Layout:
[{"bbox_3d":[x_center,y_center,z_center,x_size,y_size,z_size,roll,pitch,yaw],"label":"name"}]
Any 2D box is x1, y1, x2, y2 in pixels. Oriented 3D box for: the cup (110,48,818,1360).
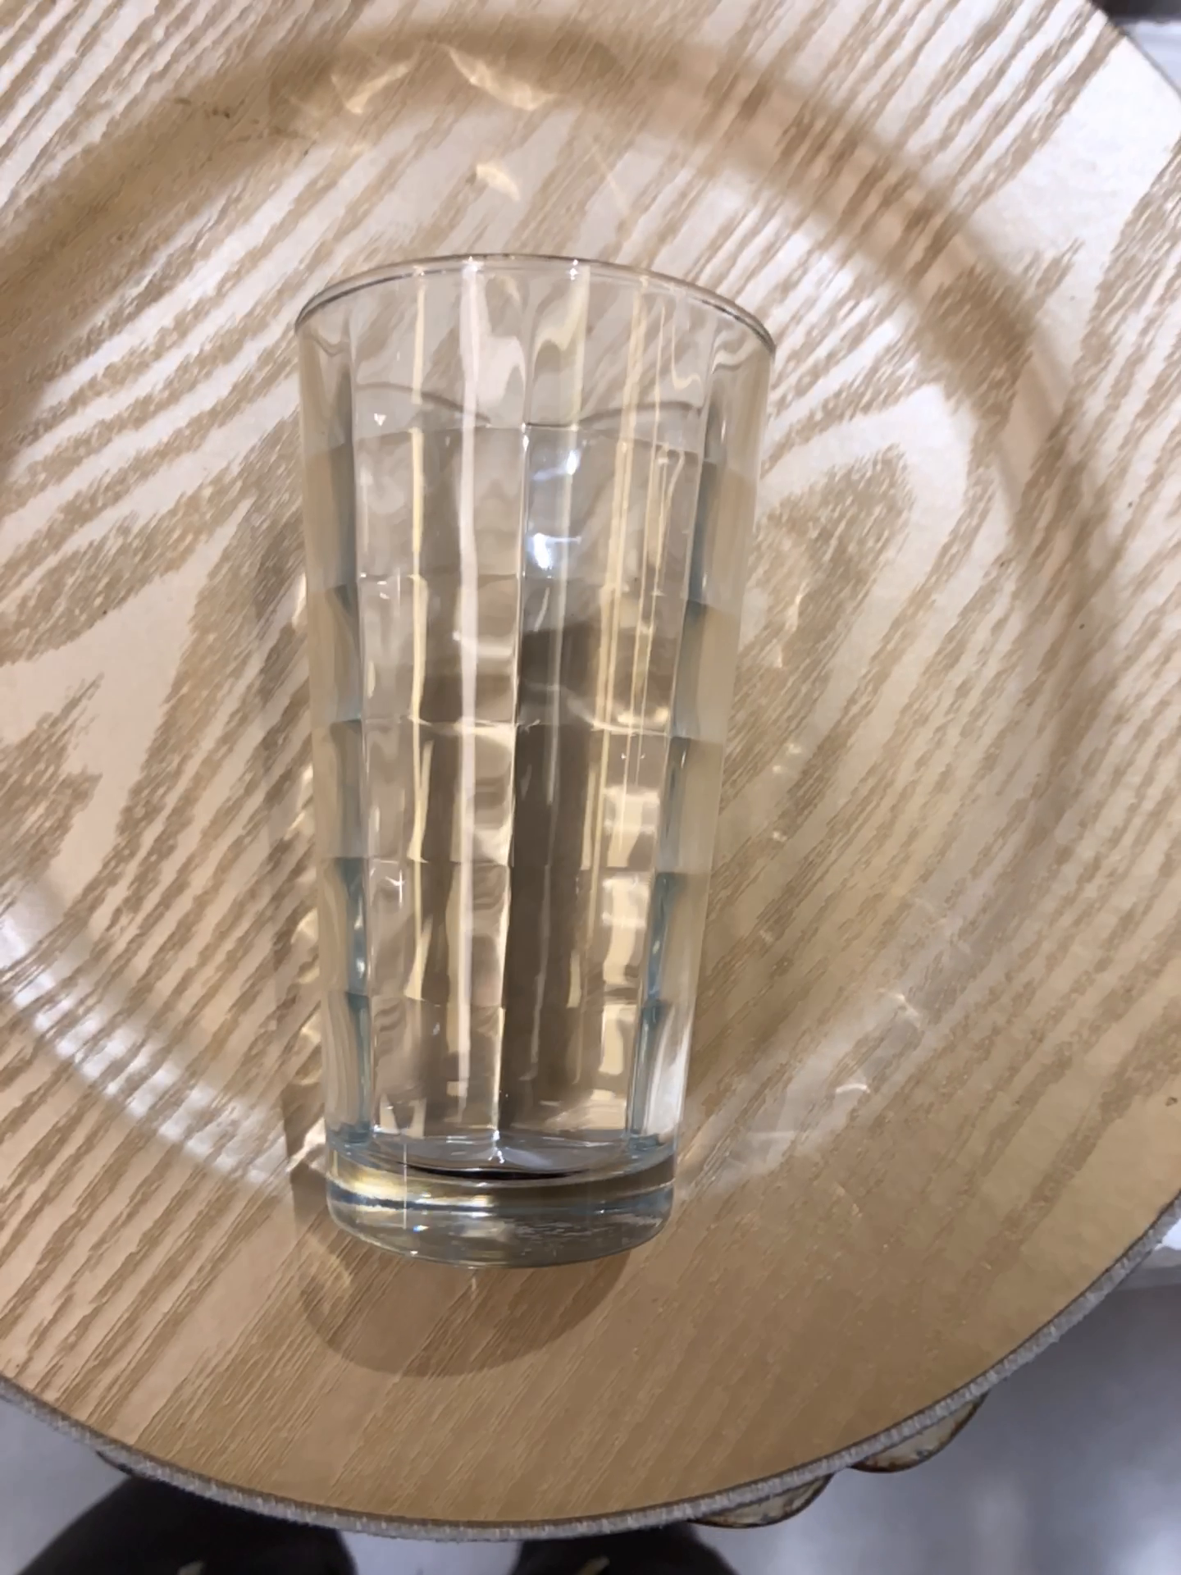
[{"bbox_3d":[-0.015,-0.012,0.224,0.090,0.080,0.180,2,86,1],"label":"cup"}]
